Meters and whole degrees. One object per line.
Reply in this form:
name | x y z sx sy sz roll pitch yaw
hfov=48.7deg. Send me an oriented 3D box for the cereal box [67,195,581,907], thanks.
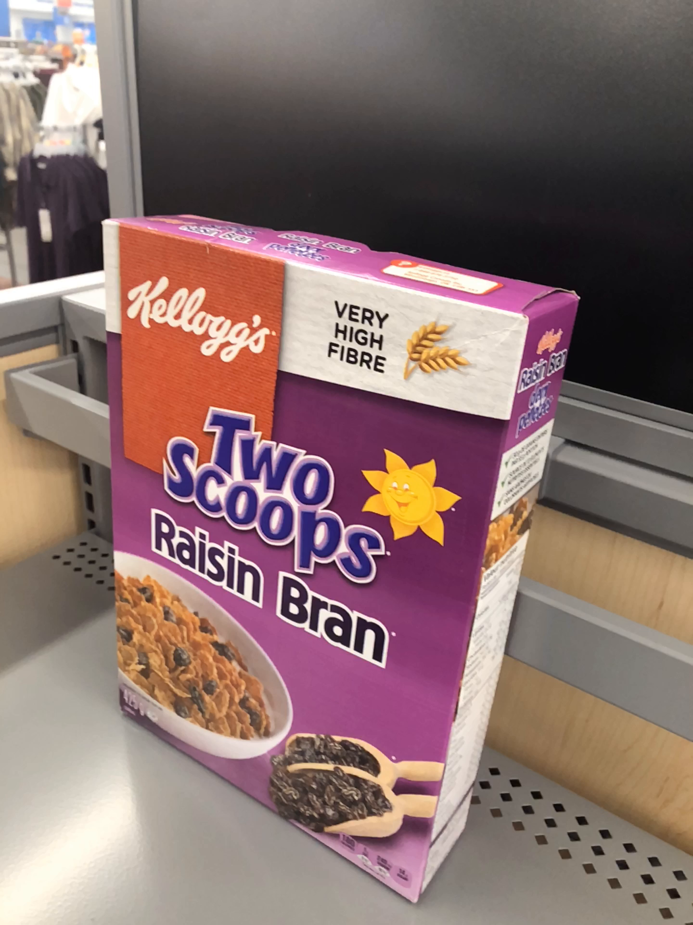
cereal box | -0.032 0.033 0.352 0.210 0.268 0.050 20 27 28
